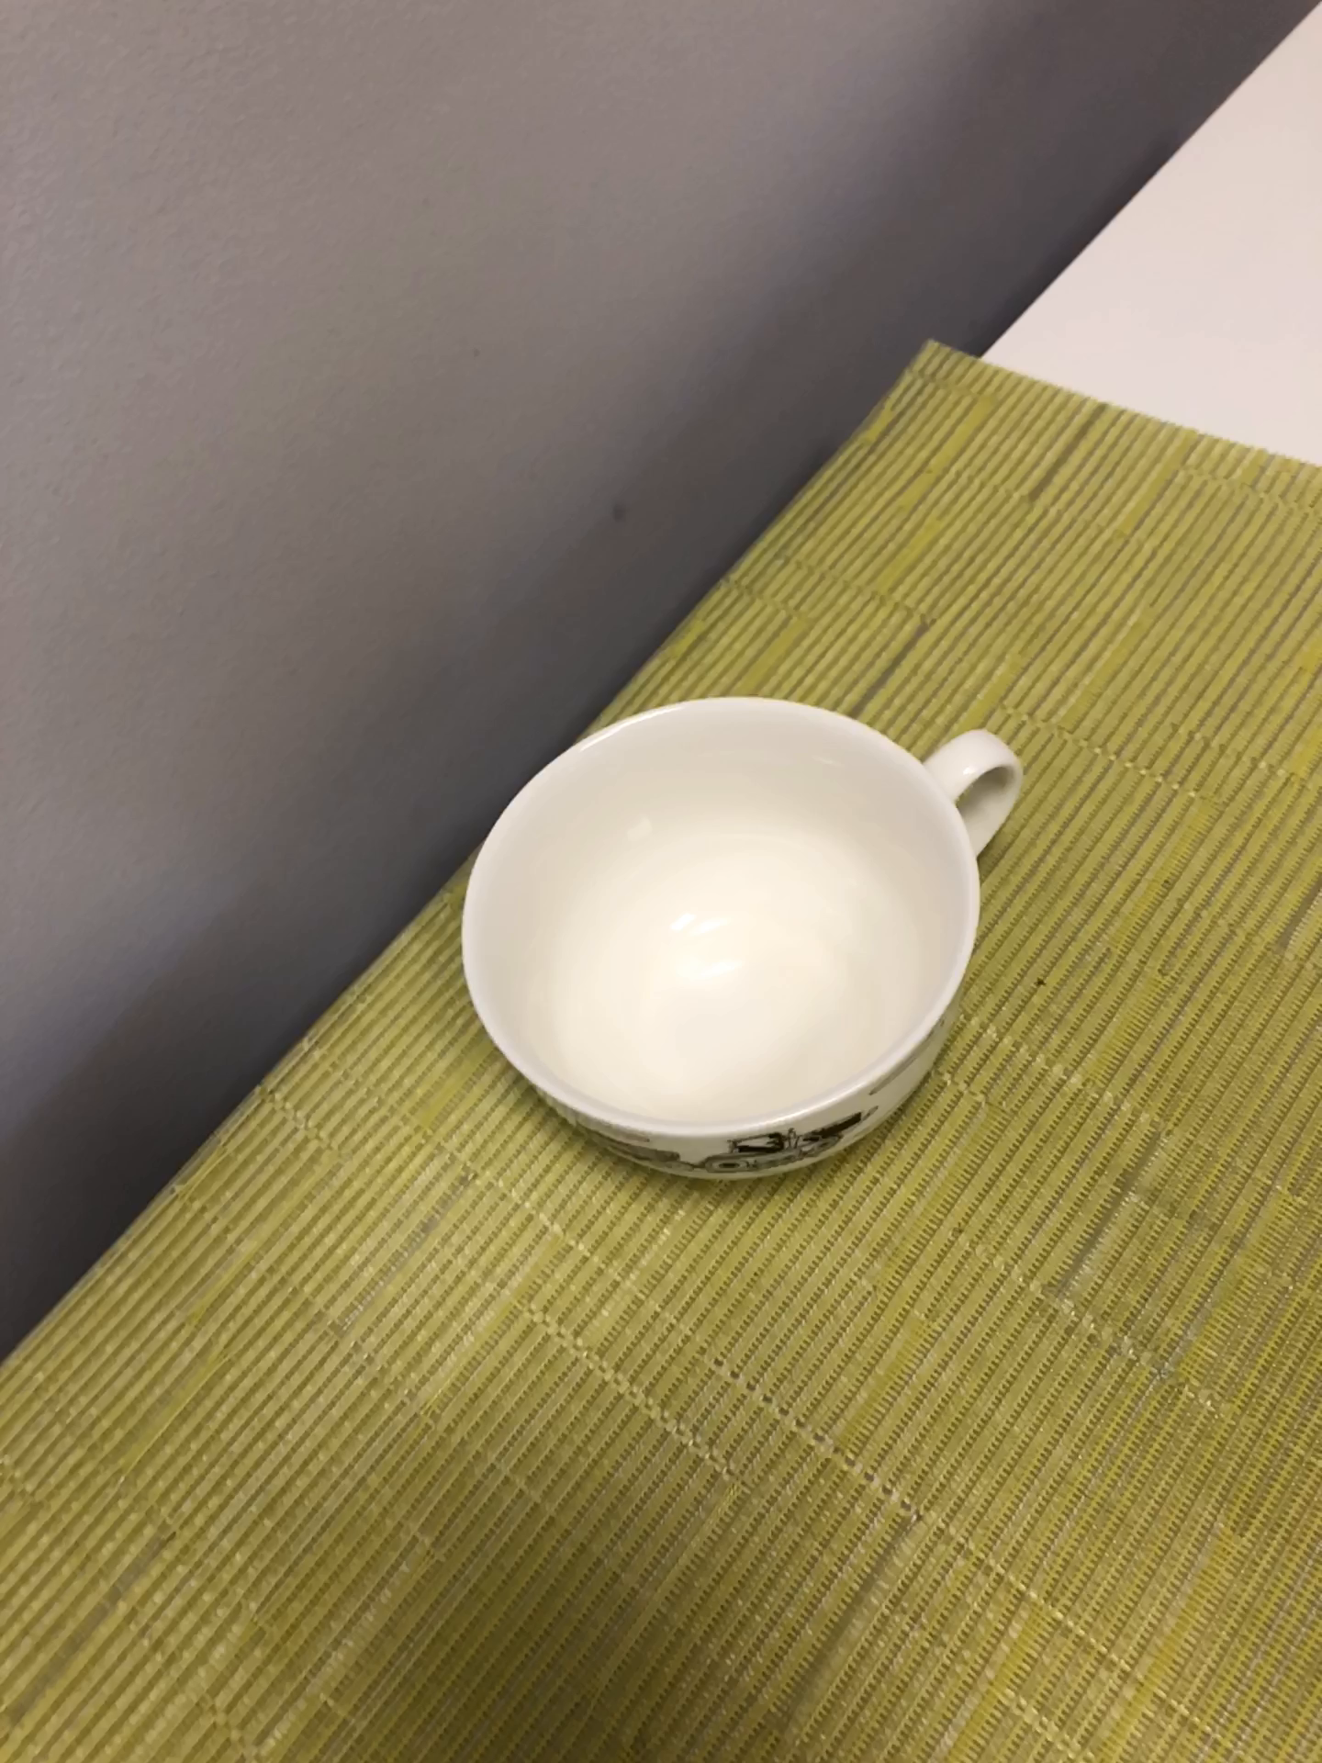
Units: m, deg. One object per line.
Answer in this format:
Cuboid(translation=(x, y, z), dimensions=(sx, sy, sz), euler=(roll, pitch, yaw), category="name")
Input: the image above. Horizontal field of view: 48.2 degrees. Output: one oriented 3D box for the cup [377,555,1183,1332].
Cuboid(translation=(0.023, 0.008, 0.283), dimensions=(0.113, 0.051, 0.089), euler=(-37, 57, -13), category="cup")
